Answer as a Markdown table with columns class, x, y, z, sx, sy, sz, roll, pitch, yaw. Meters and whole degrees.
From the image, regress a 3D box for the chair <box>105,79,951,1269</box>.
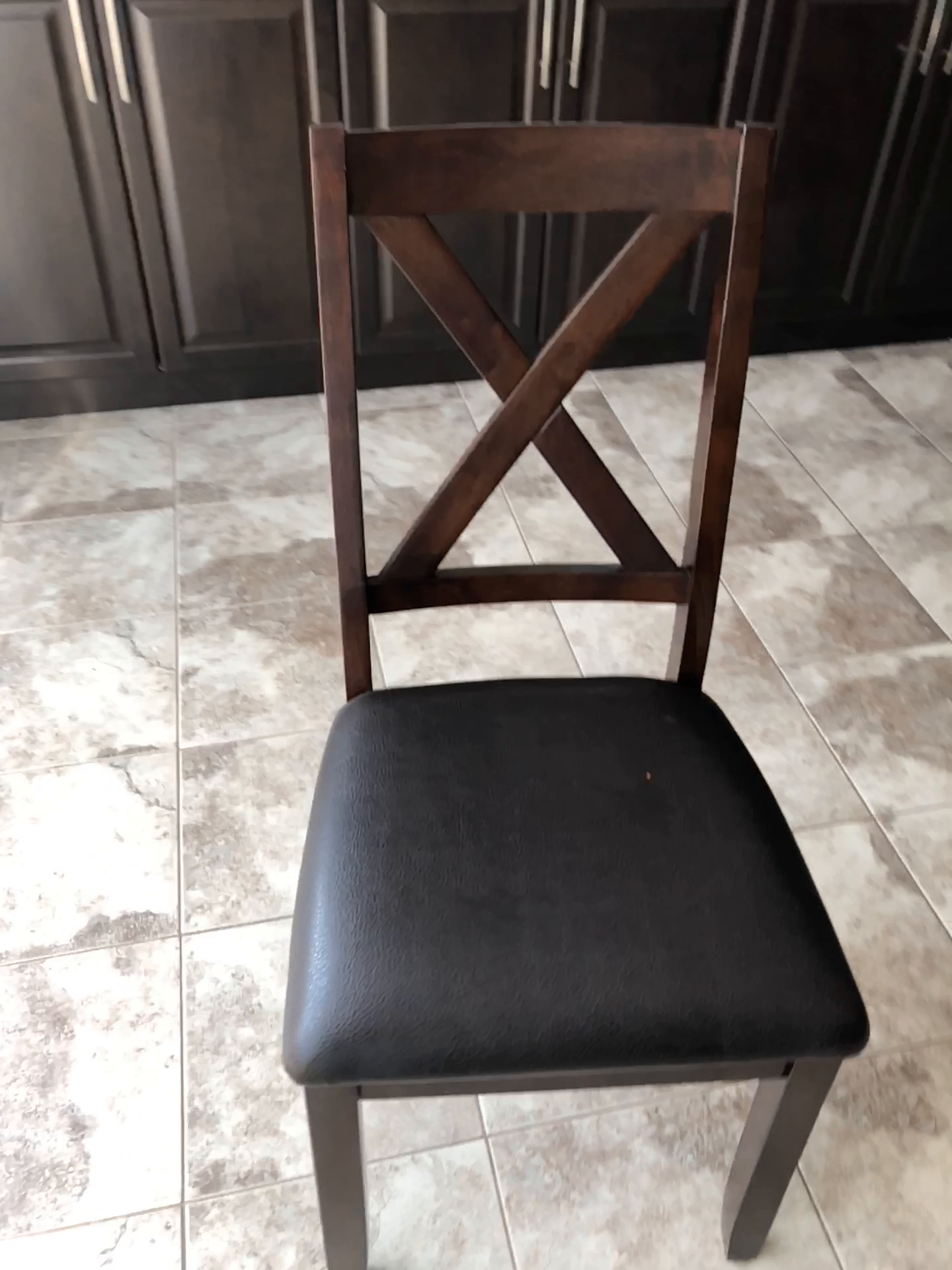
| class | x | y | z | sx | sy | sz | roll | pitch | yaw |
| --- | --- | --- | --- | --- | --- | --- | --- | --- | --- |
| chair | 0.066 | 0.087 | 0.955 | 0.480 | 0.936 | 0.602 | -2 | 41 | -4 |
